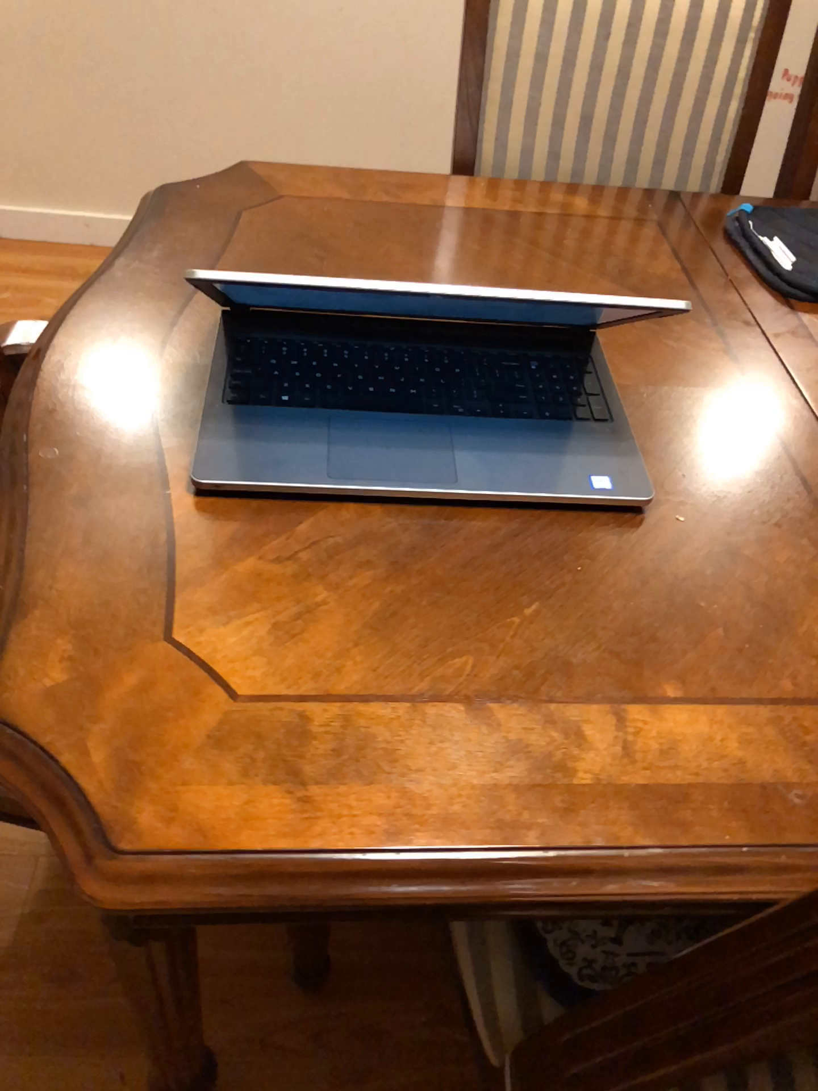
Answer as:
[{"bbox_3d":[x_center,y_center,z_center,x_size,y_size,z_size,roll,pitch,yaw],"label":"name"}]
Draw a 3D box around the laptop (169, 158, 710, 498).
[{"bbox_3d":[0.013,-0.182,0.737,0.363,0.147,0.246,2,45,-5],"label":"laptop"}]
